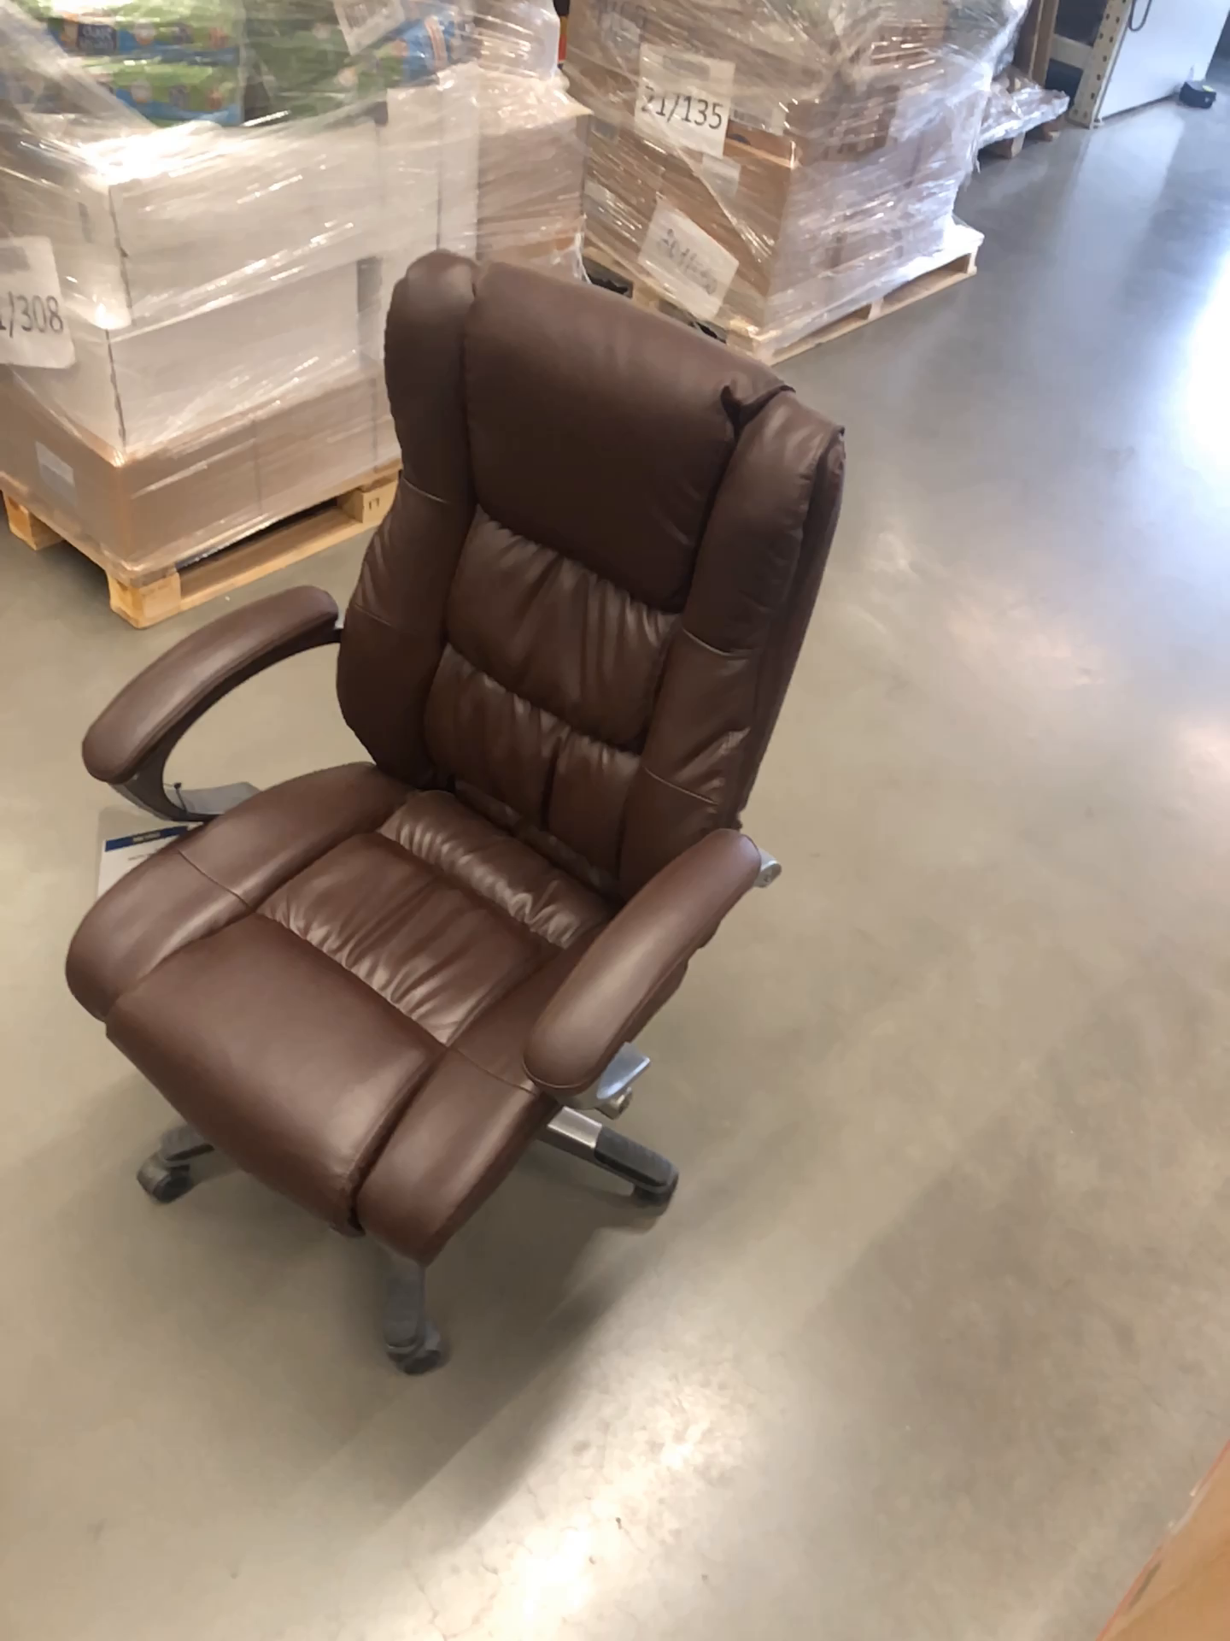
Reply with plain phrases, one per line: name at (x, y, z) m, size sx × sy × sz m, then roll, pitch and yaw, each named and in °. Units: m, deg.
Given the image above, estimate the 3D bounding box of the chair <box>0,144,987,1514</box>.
chair at (-0.223, 0.035, 1.414) m, size 0.681 × 1.093 × 0.653 m, roll 33°, pitch 49°, yaw 22°
